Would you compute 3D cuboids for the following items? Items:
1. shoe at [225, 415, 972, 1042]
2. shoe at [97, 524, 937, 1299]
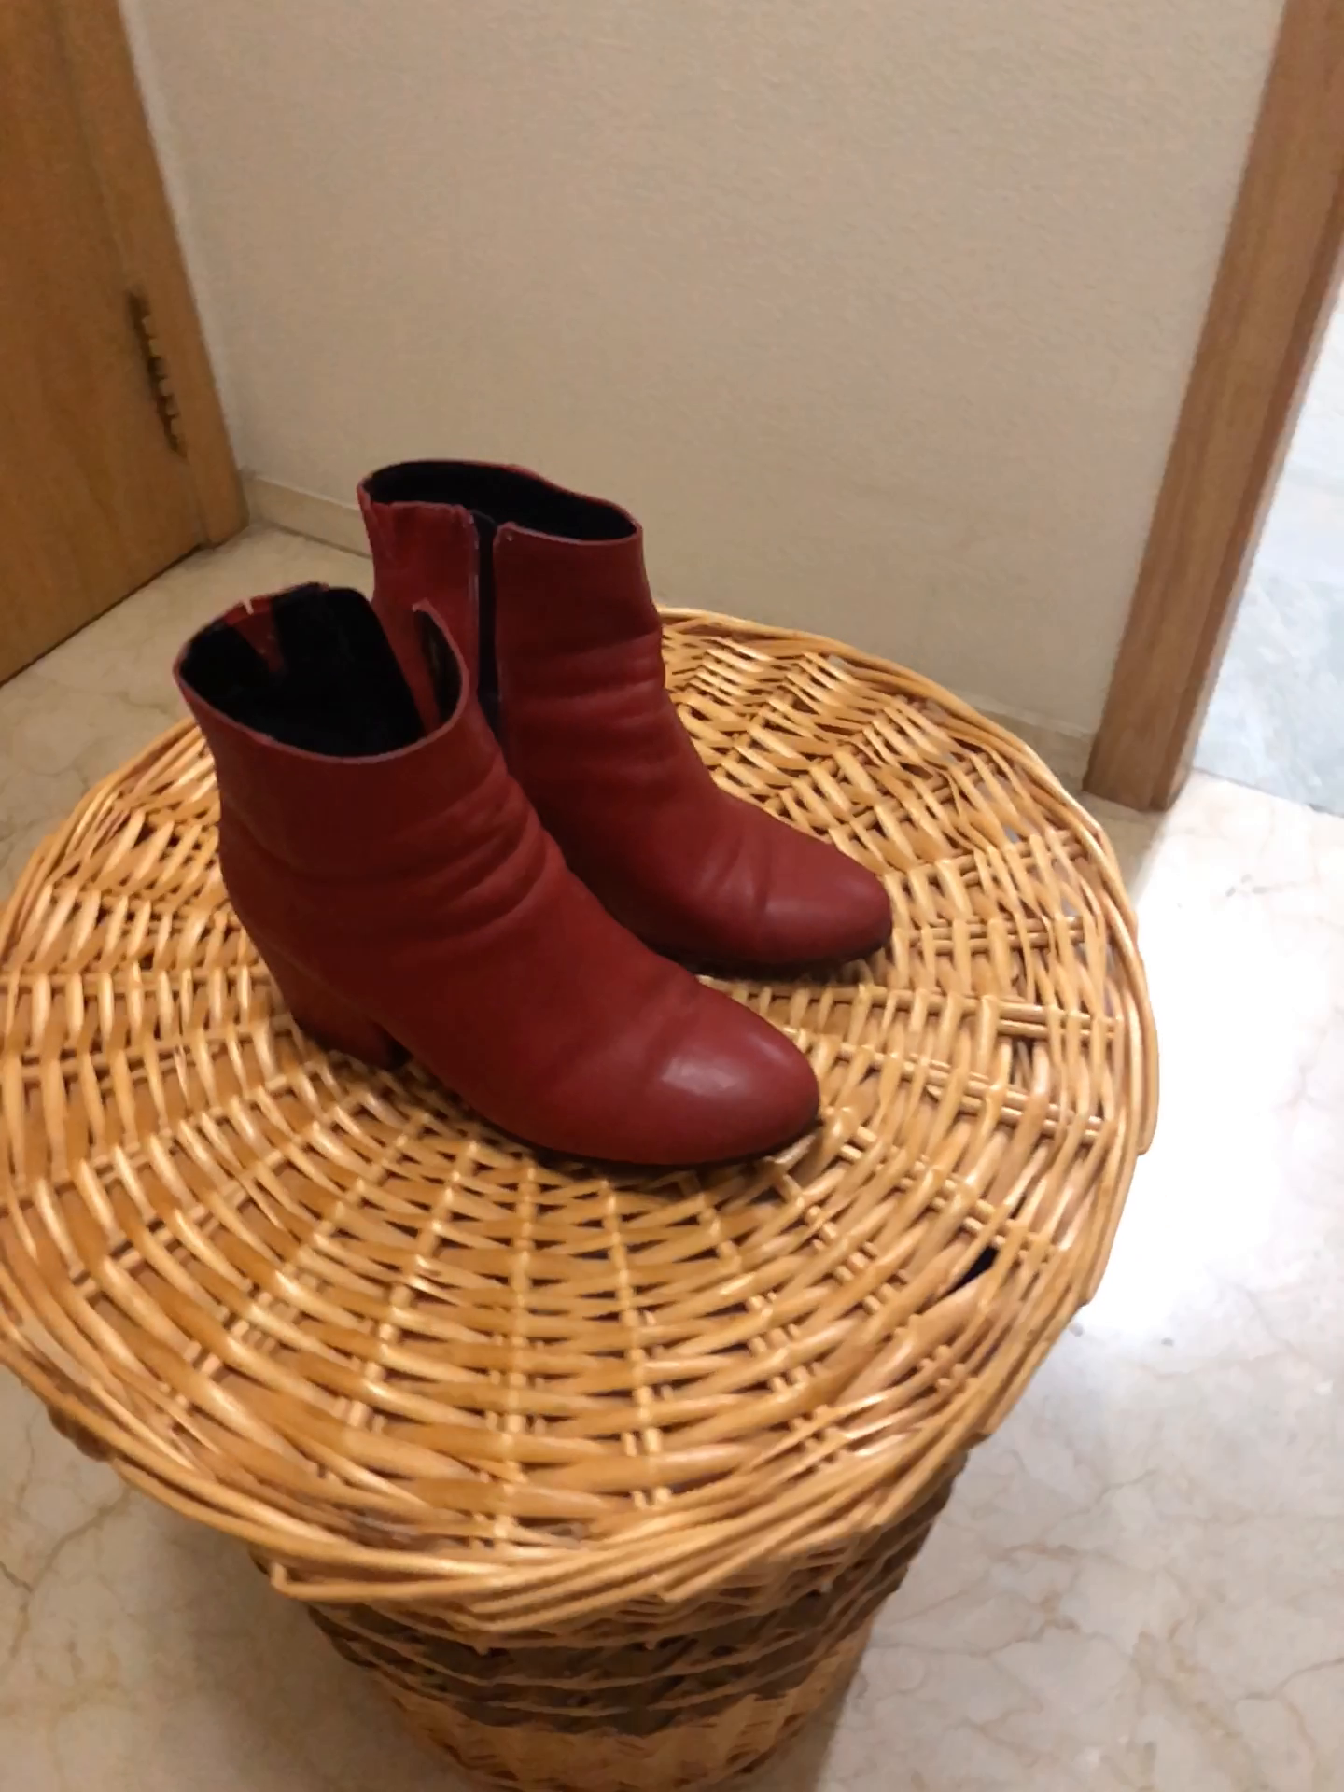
[{"bbox_3d":[-0.023,-0.065,0.588,0.245,0.184,0.099,13,47,13],"label":"shoe"},{"bbox_3d":[-0.050,0.004,0.523,0.245,0.184,0.099,21,49,20],"label":"shoe"}]
